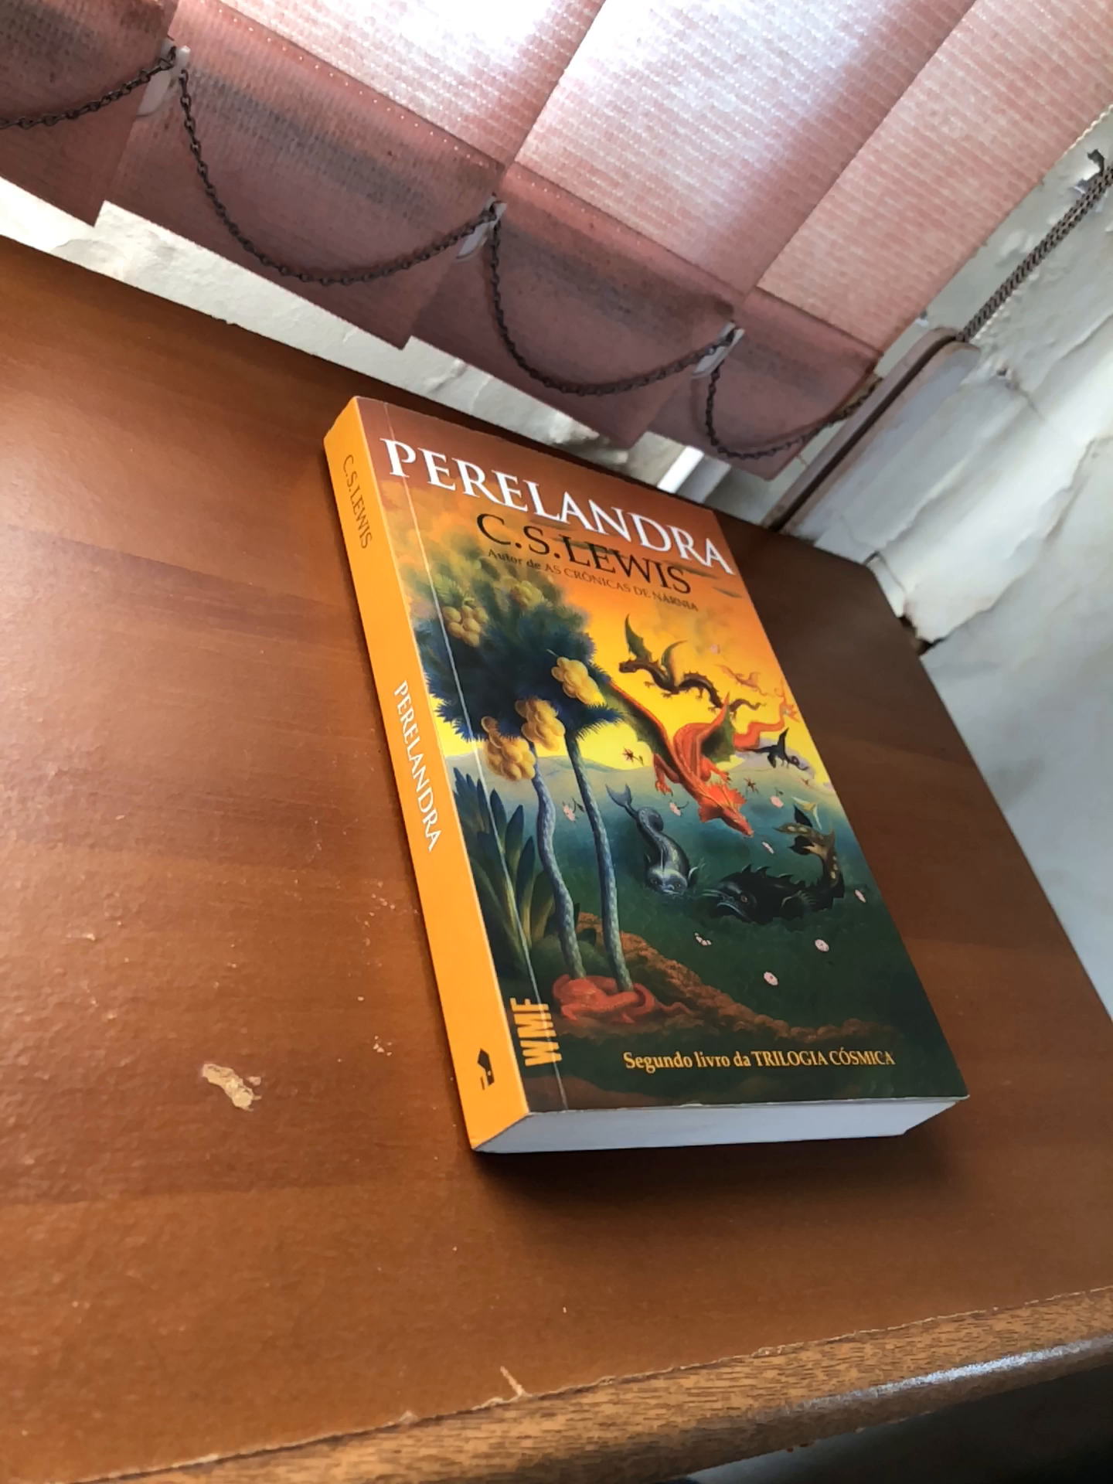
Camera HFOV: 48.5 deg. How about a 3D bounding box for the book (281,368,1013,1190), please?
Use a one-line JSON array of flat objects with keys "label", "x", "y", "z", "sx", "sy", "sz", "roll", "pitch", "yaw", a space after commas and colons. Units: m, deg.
[{"label": "book", "x": 0.014, "y": 0.001, "z": 0.294, "sx": 0.130, "sy": 0.030, "sz": 0.191, "roll": 10, "pitch": 47, "yaw": -35}]
